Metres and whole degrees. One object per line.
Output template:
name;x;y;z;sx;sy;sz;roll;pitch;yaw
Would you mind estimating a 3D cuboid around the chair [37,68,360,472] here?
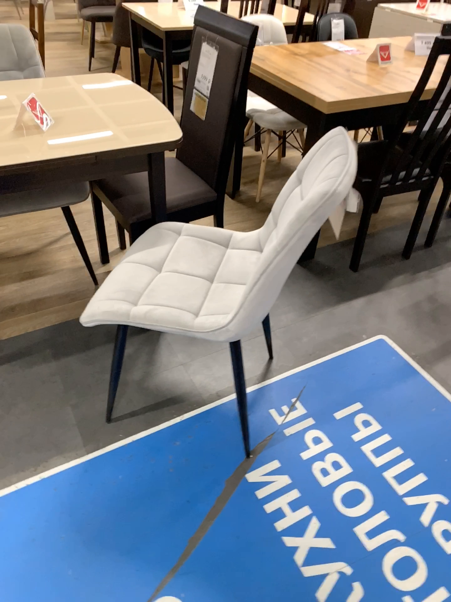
chair;-0.039;-0.048;1.339;0.600;0.974;0.483;12;41;9
